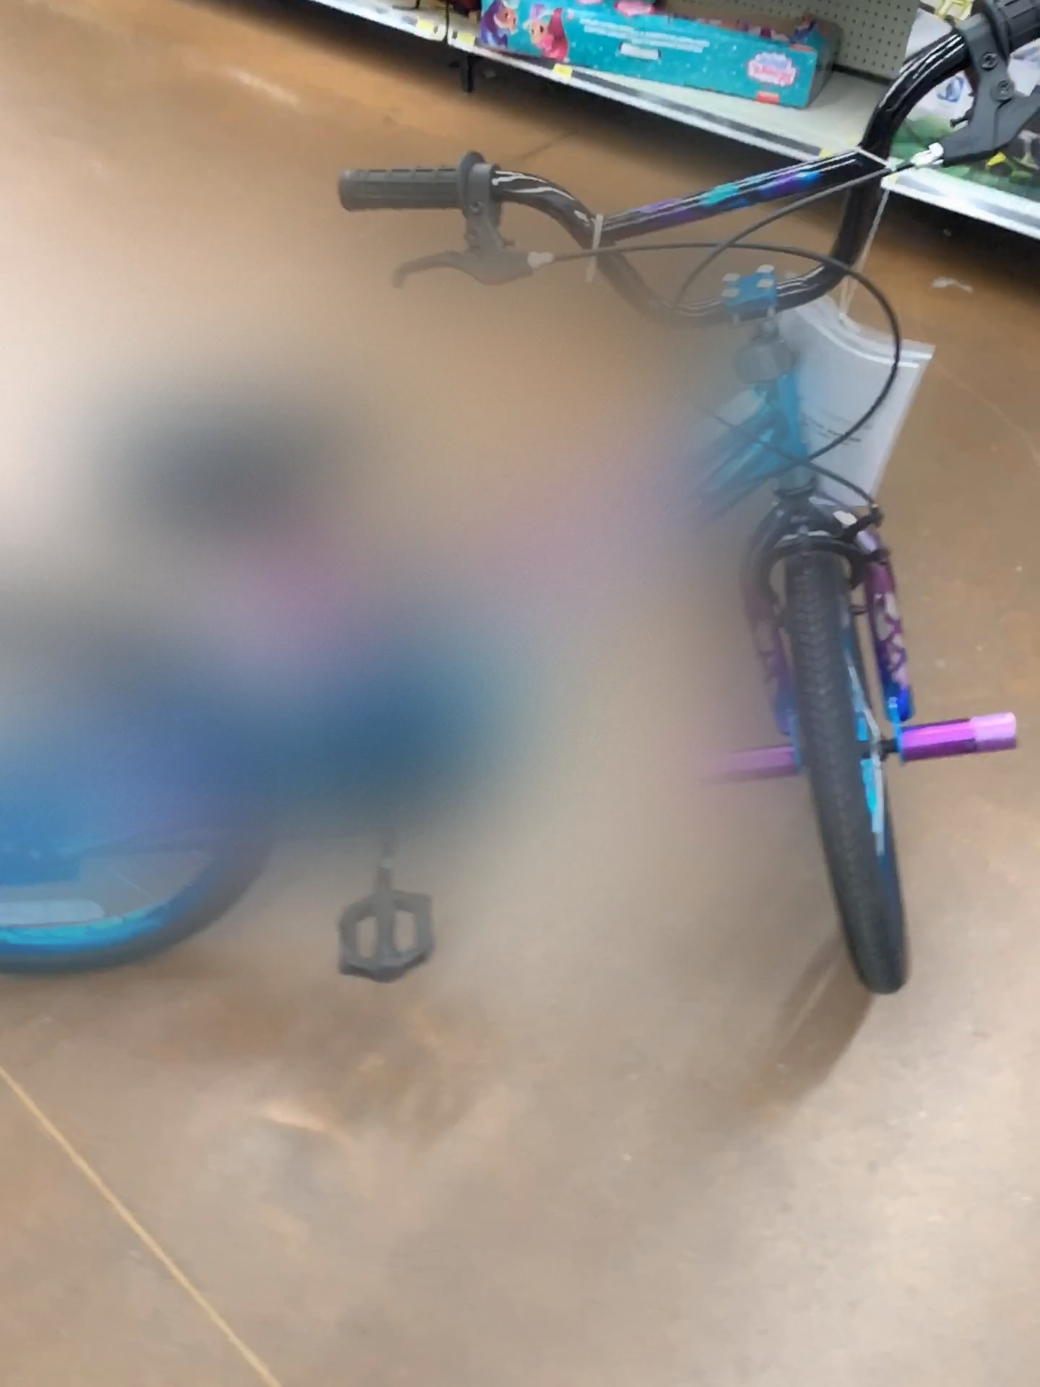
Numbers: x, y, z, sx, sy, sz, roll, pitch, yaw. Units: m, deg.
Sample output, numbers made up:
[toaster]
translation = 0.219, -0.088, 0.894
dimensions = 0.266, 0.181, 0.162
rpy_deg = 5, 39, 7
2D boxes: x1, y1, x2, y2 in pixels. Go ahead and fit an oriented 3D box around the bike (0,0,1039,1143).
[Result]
[bike]
translation = -0.260, -0.132, 0.920
dimensions = 0.934, 0.931, 0.580
rpy_deg = -3, 49, -6
